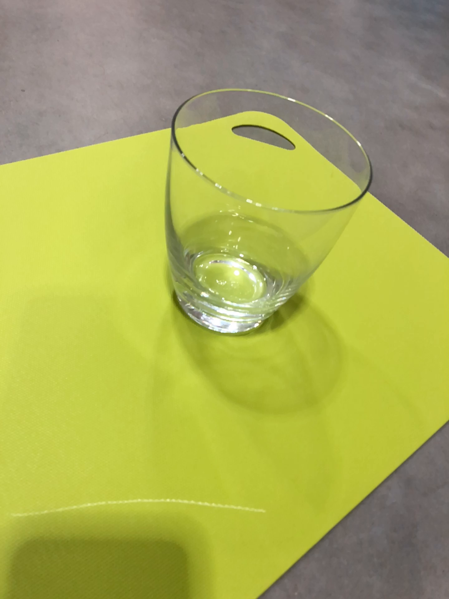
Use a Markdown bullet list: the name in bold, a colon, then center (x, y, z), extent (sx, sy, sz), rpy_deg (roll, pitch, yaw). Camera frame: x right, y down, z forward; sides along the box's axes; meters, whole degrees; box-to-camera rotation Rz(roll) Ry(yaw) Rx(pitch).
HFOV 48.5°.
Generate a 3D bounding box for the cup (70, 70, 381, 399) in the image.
- **cup**: center (0.000, -0.038, 0.261), extent (0.110, 0.090, 0.110), rpy_deg (8, 49, -9)
